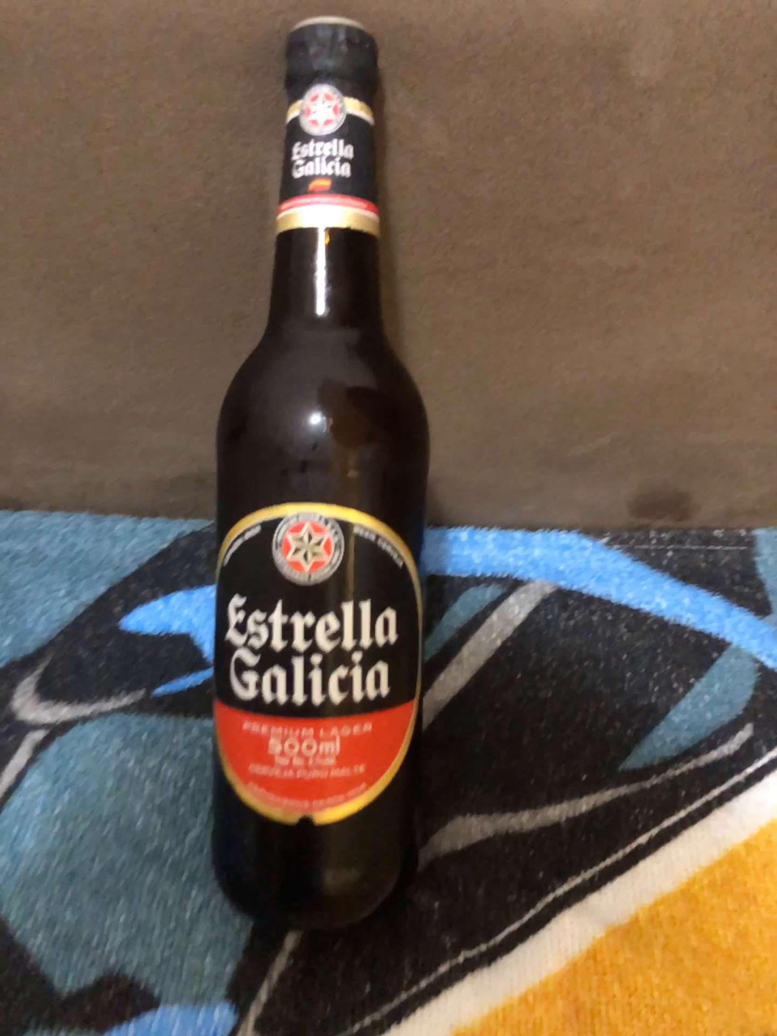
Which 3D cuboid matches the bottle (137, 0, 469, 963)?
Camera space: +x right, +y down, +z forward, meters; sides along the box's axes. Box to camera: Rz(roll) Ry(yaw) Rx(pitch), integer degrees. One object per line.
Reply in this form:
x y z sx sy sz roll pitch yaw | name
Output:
-0.021 -0.020 0.266 0.080 0.270 0.080 2 4 0 | bottle
